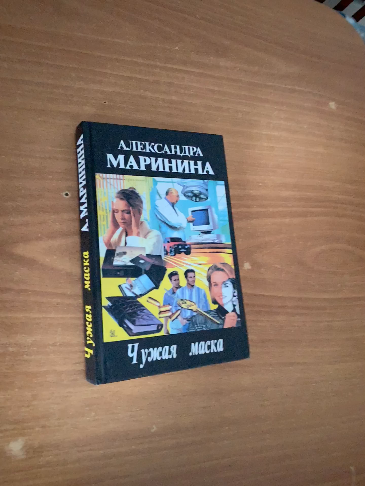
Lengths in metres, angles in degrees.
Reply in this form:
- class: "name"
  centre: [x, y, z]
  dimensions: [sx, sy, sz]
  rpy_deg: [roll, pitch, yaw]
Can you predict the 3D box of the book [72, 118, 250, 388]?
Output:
- class: "book"
  centre: [-0.019, 0.003, 0.312]
  dimensions: [0.130, 0.030, 0.200]
  rpy_deg: [-1, 79, -23]
